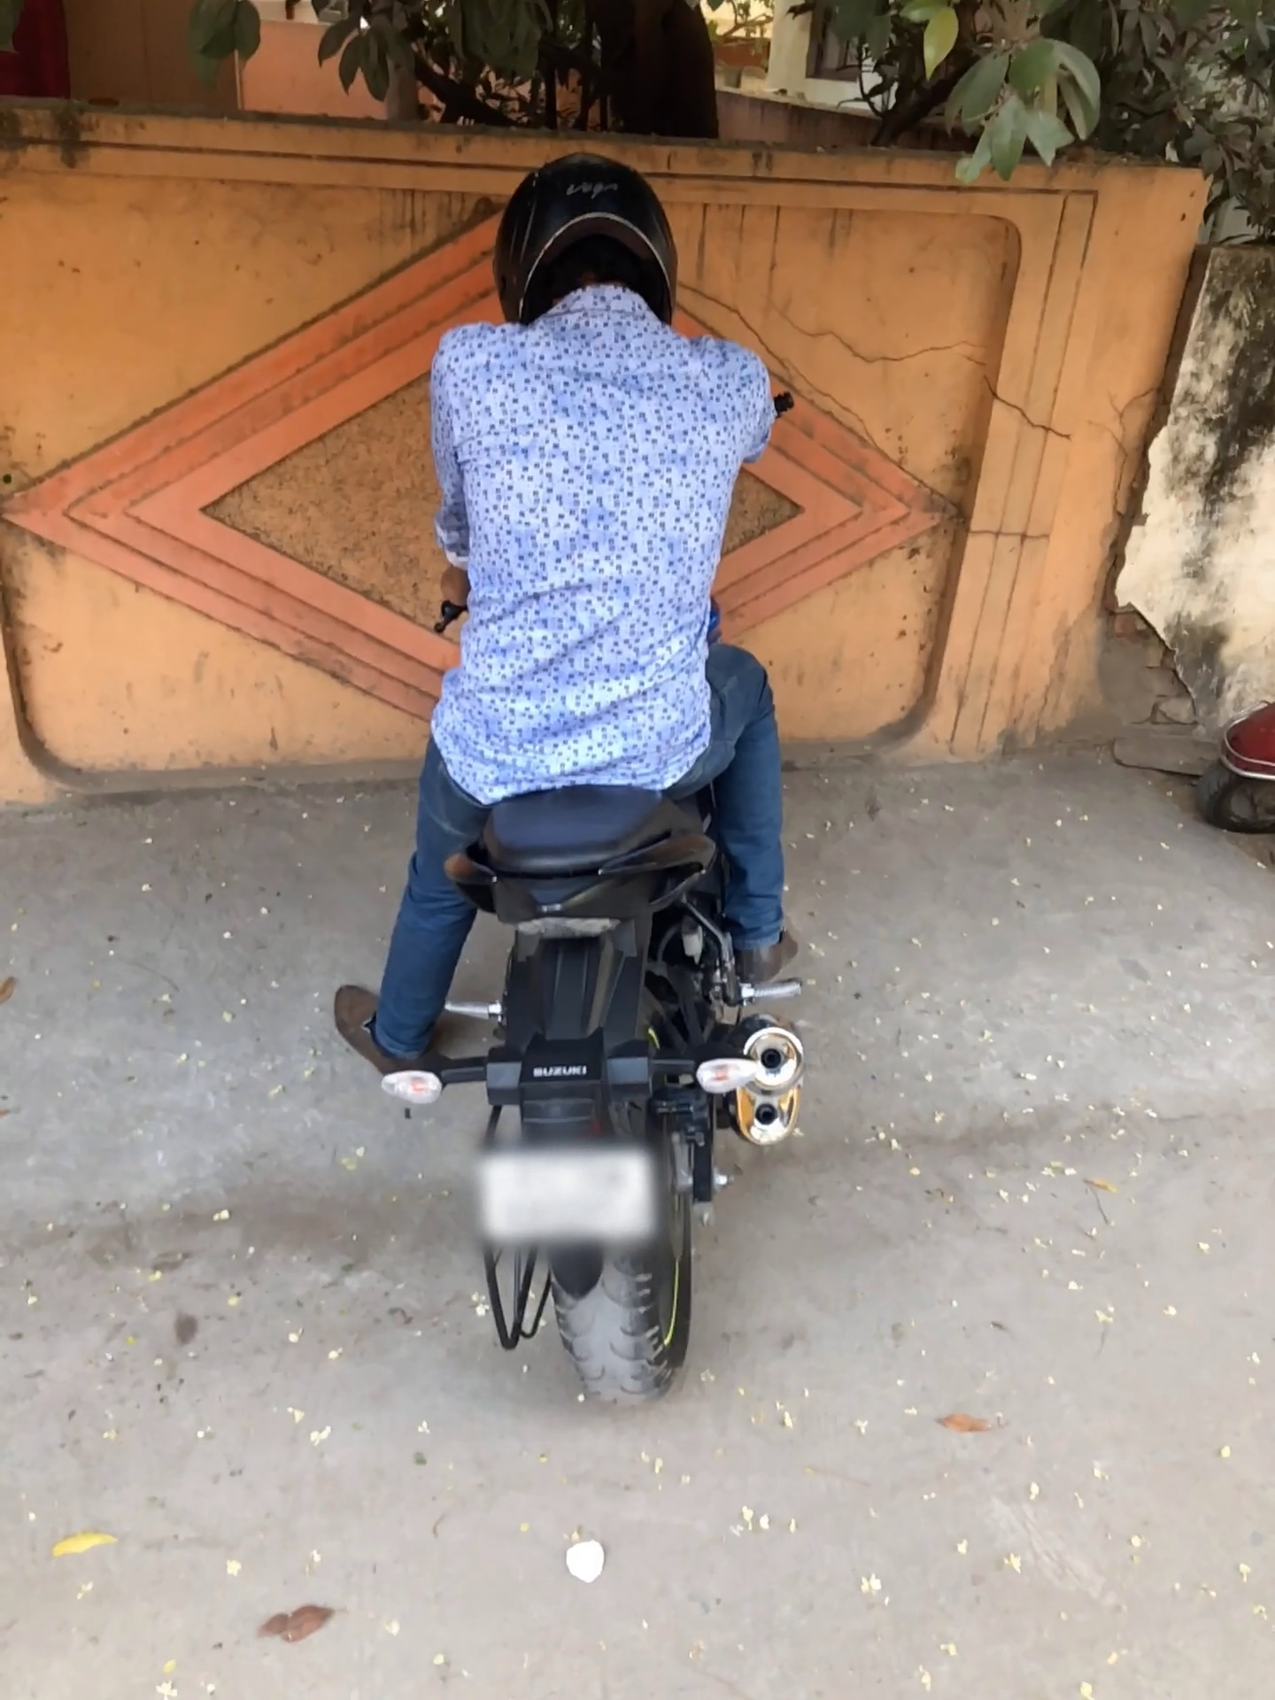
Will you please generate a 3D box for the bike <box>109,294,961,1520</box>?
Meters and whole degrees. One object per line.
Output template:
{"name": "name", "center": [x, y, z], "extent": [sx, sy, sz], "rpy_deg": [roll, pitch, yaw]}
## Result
{"name": "bike", "center": [-0.195, -0.131, 2.408], "extent": [0.793, 1.187, 1.900], "rpy_deg": [2, 30, -4]}
